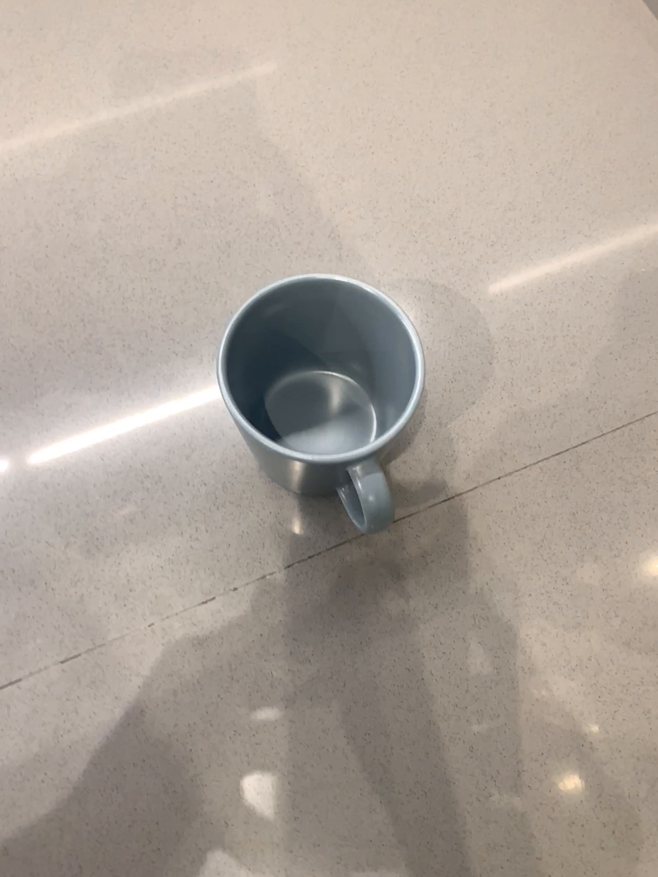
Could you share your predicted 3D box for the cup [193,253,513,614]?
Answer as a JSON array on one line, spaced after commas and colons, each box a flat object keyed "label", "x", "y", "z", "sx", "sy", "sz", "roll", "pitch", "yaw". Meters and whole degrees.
[{"label": "cup", "x": 0.006, "y": 0.003, "z": 0.328, "sx": 0.090, "sy": 0.090, "sz": 0.130, "roll": -22, "pitch": 74, "yaw": -8}]
